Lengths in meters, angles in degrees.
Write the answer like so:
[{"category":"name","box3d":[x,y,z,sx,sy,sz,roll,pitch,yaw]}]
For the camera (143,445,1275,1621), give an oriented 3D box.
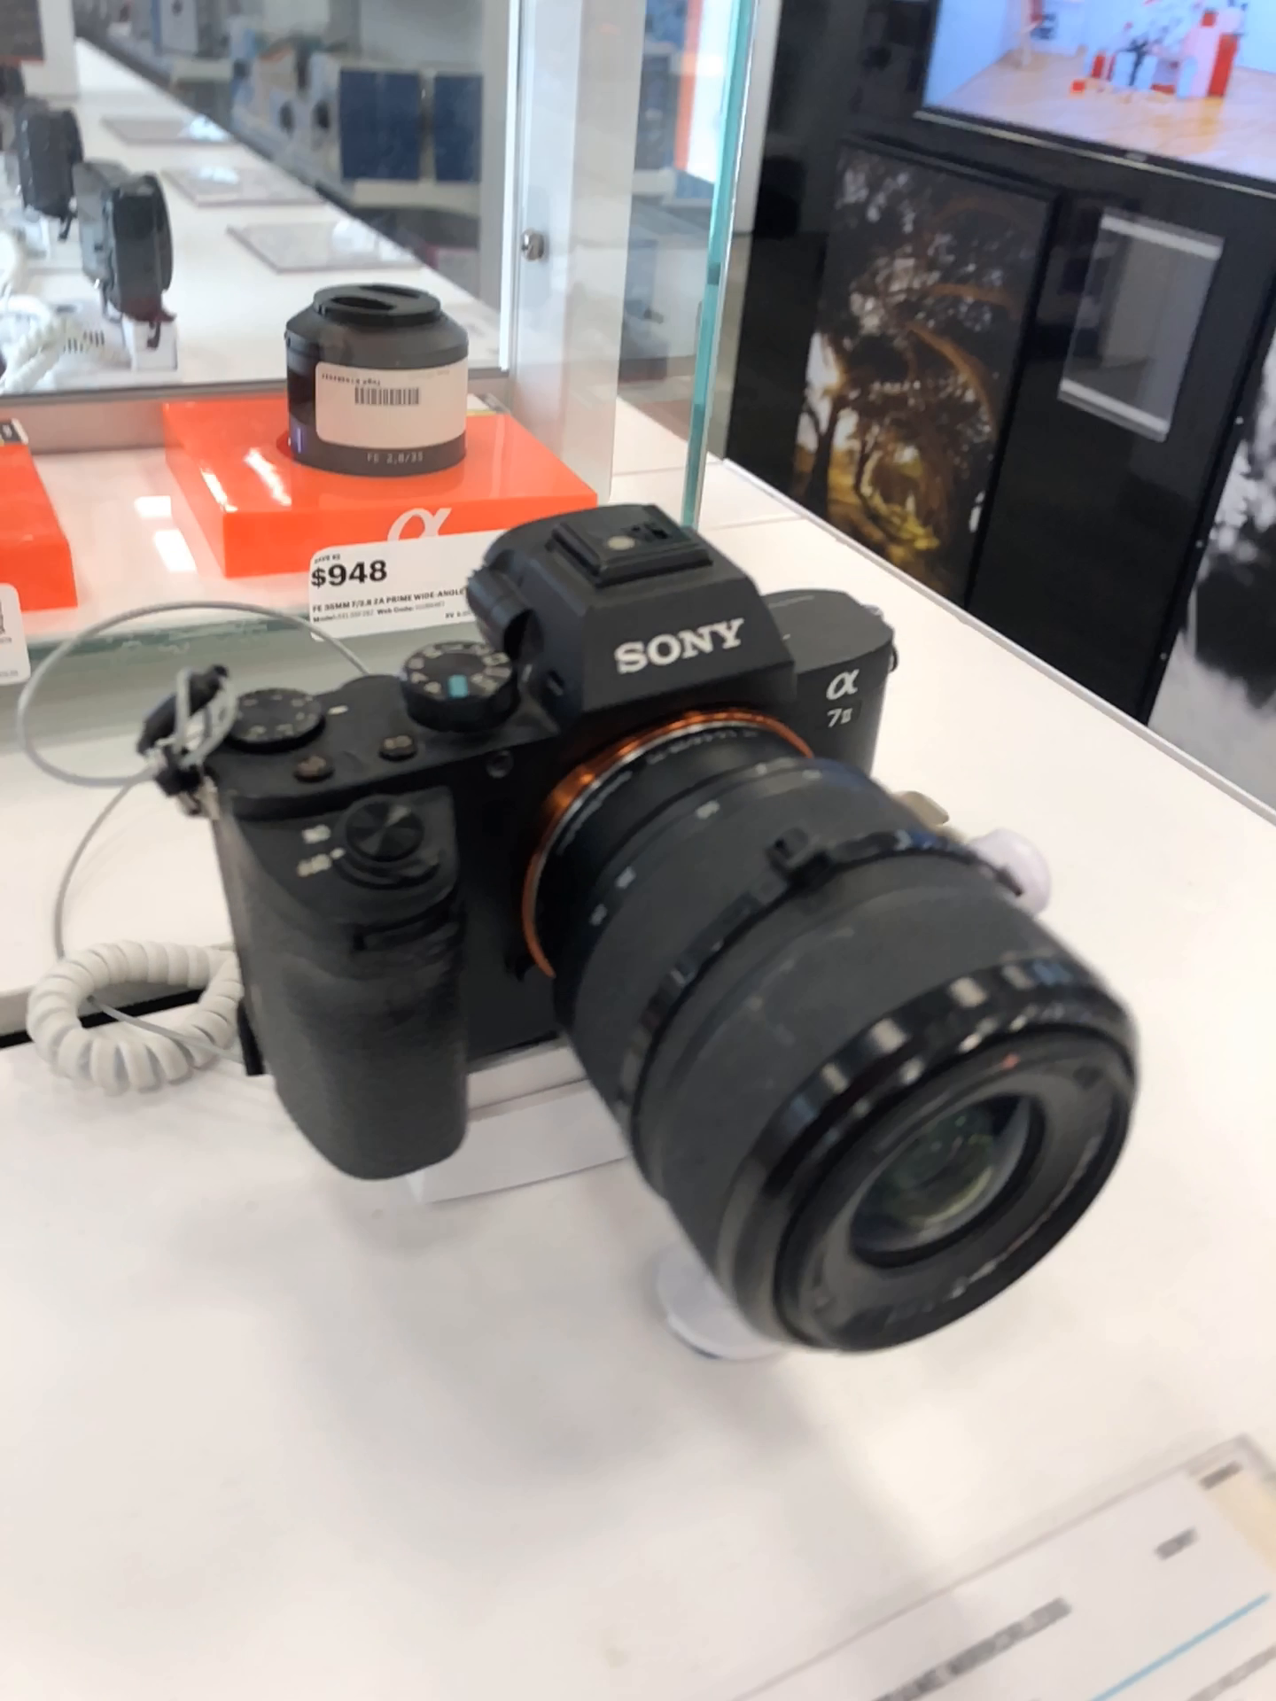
[{"category":"camera","box3d":[0.010,0.008,0.247,0.140,0.100,0.150,-14,38,-28]}]
